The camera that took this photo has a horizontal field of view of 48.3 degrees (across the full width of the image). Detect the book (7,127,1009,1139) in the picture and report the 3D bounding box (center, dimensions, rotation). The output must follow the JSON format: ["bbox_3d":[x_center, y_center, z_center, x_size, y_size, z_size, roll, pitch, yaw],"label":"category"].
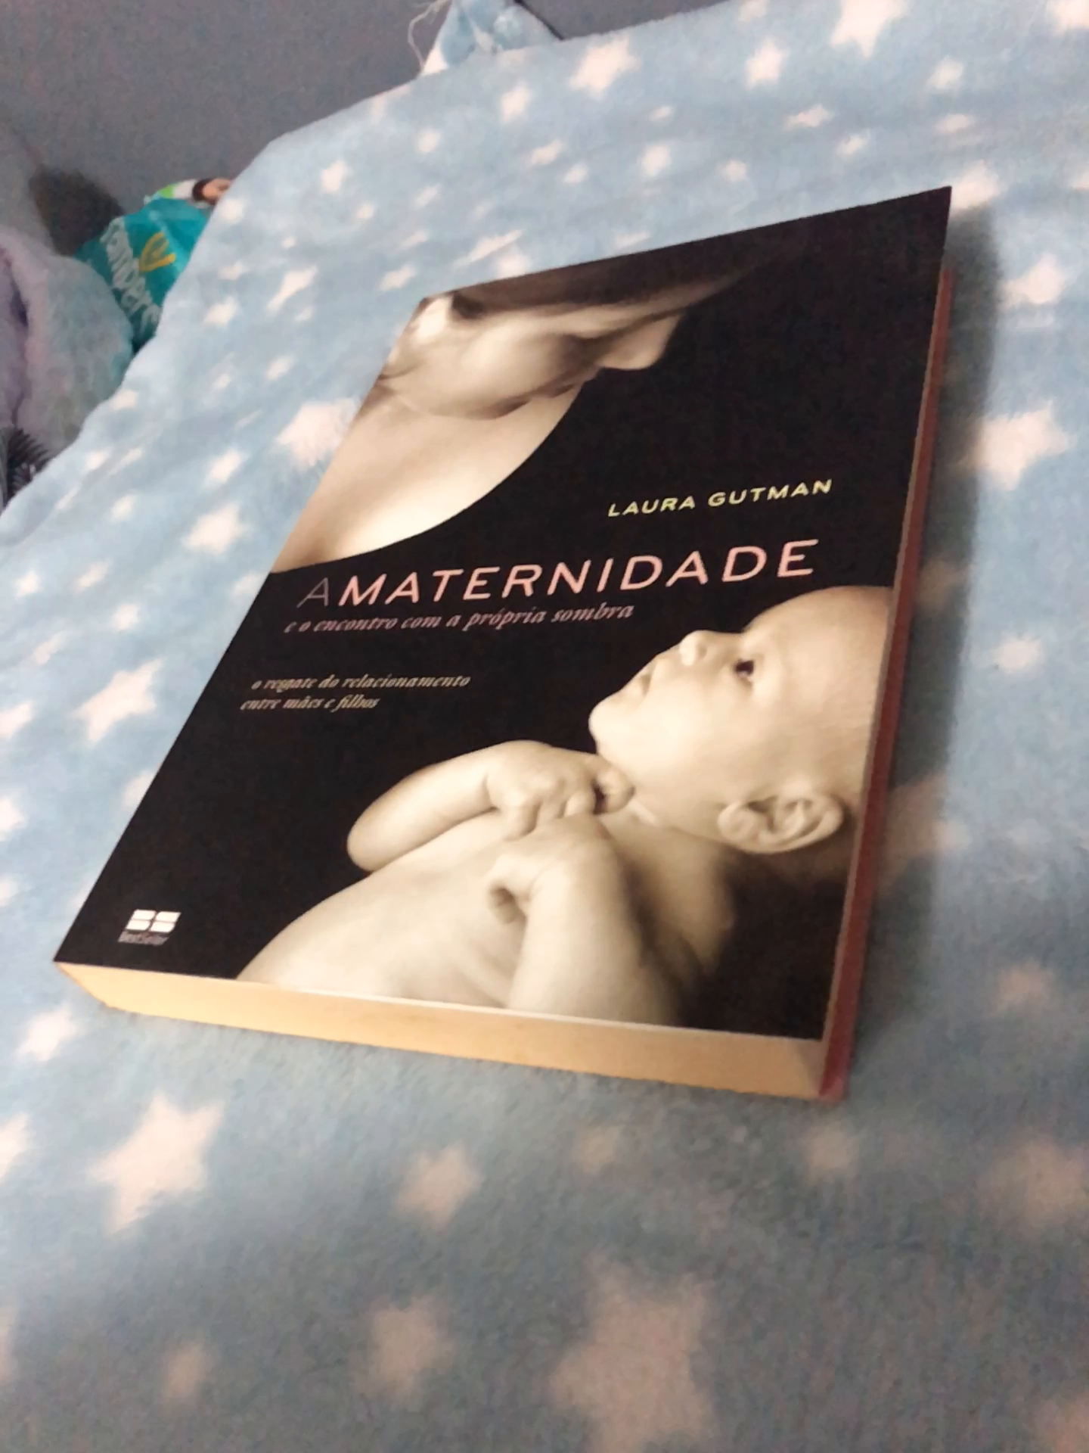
[{"bbox_3d":[0.009,-0.042,0.271,0.160,0.030,0.241,-1,50,27],"label":"book"}]
